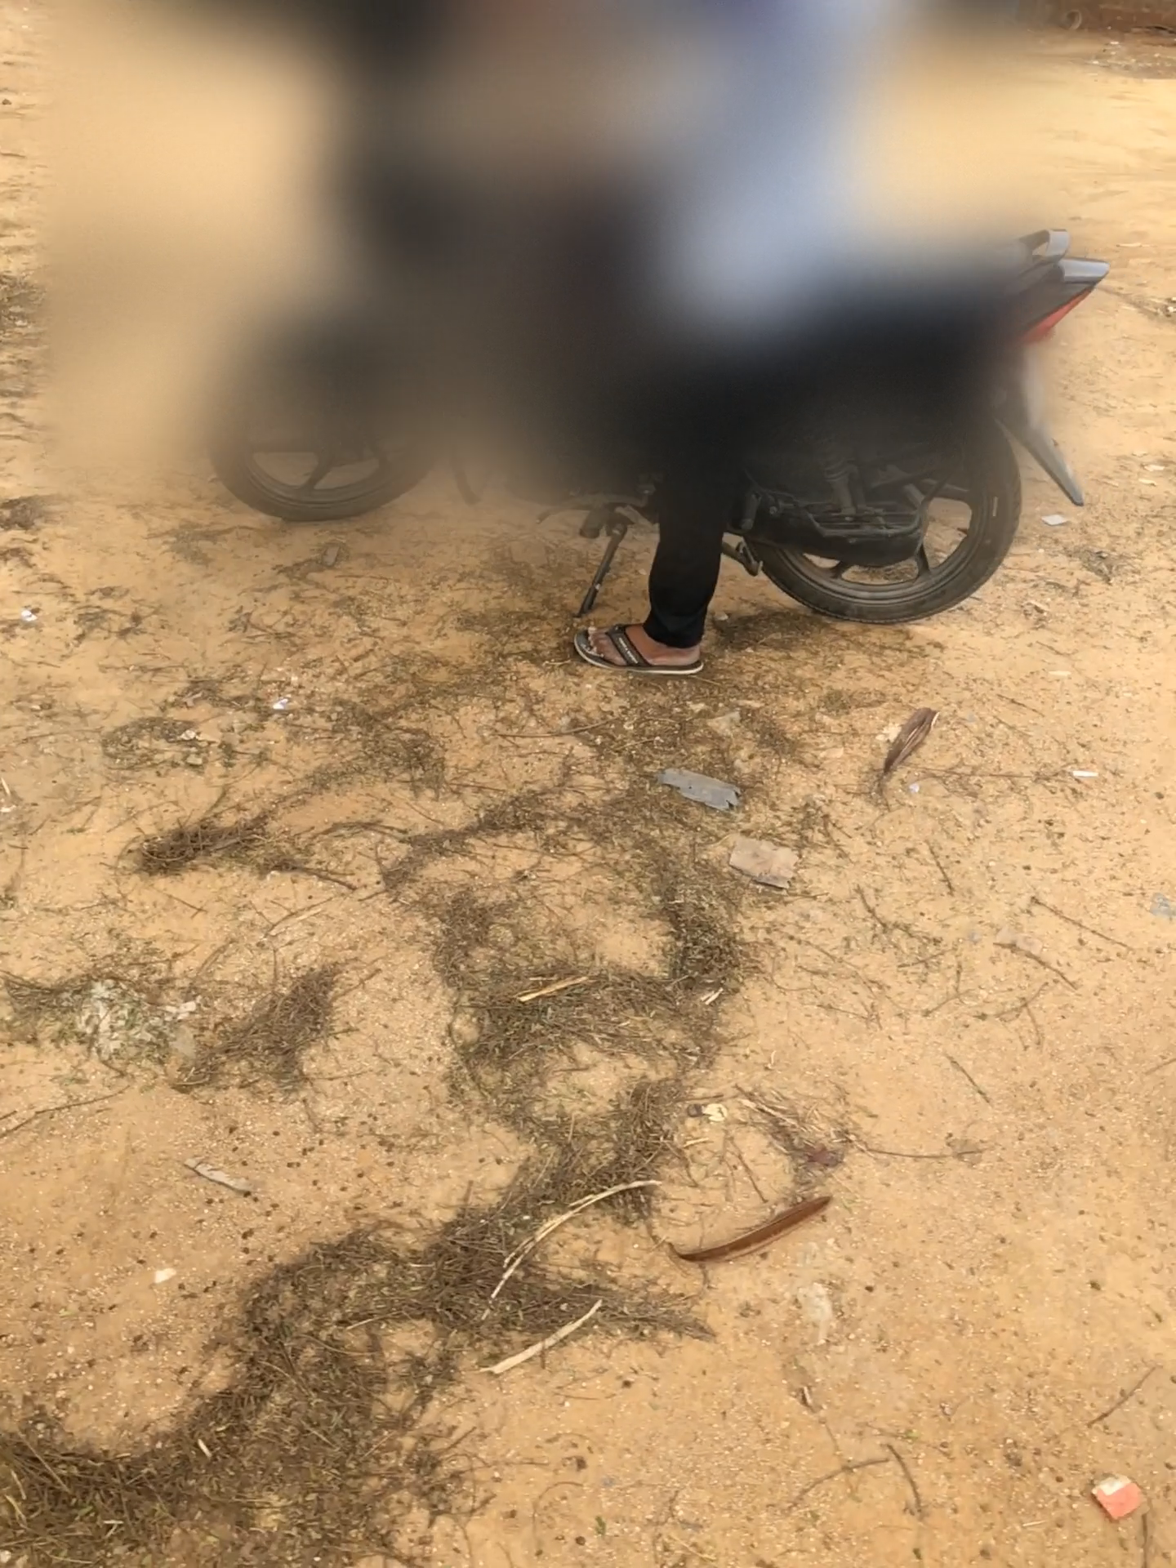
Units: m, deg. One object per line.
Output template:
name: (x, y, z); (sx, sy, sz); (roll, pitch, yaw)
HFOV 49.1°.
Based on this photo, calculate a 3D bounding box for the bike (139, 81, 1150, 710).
bike: (0.054, -0.780, 2.459); (1.560, 0.913, 0.673); (8, 33, 13)
